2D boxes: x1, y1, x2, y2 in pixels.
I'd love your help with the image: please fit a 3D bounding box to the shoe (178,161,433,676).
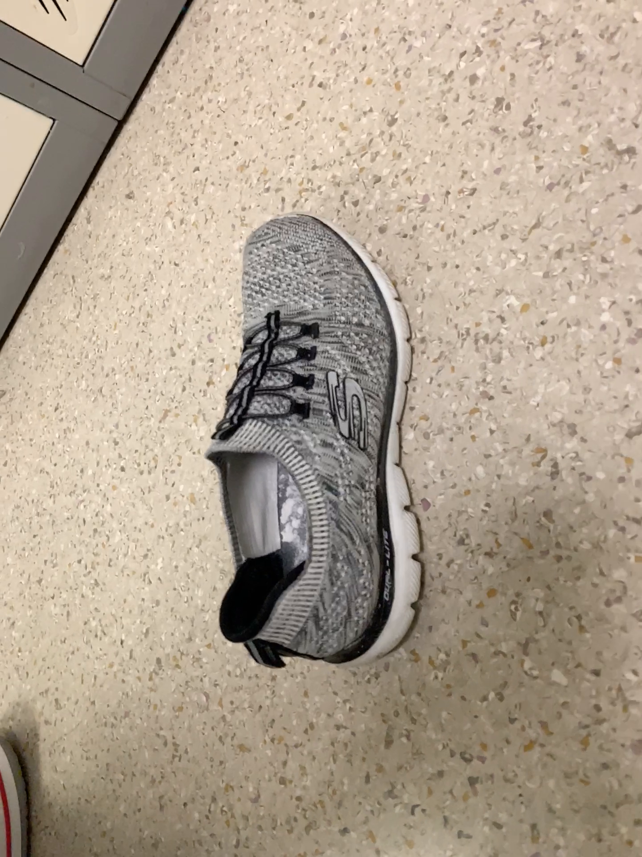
[{"bbox_3d":[-0.011,-0.002,0.367,0.094,0.093,0.241,-10,78,38],"label":"shoe"}]
